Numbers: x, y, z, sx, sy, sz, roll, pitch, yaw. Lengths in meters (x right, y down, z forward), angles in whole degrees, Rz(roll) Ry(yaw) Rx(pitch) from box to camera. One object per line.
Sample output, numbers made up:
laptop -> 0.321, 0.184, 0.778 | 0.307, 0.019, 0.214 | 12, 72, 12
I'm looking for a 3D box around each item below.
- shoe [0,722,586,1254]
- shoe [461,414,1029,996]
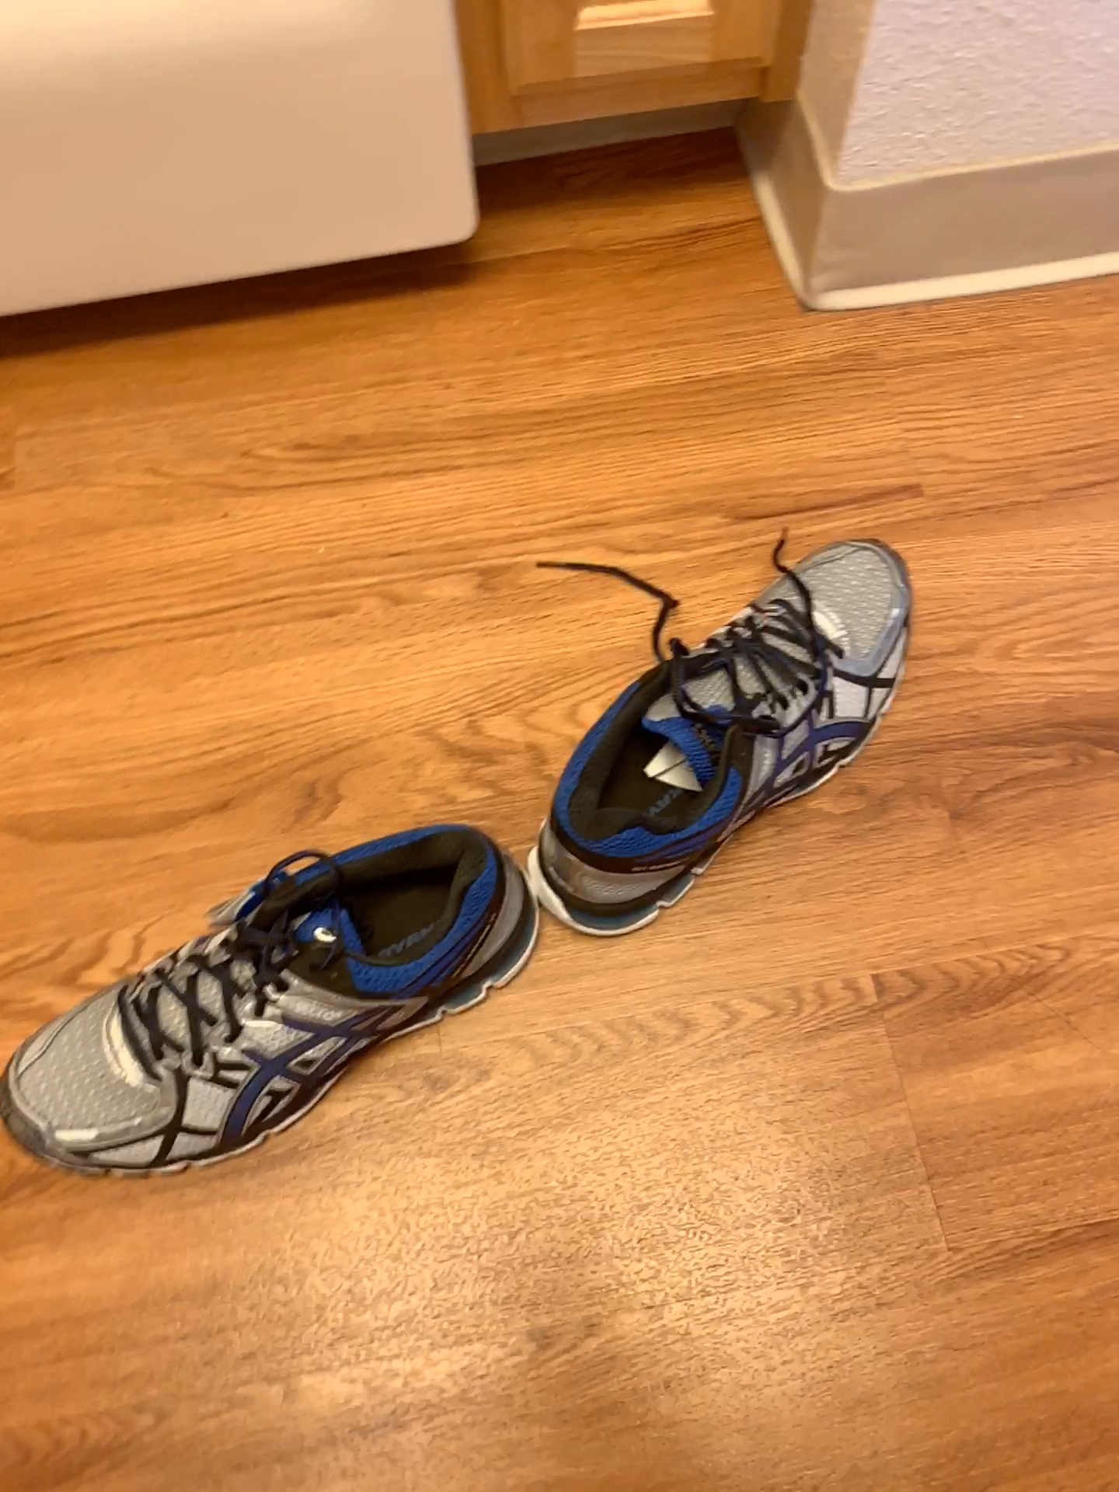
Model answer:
shoe -> -0.147, 0.128, 0.595 | 0.300, 0.120, 0.120 | -28, 68, -10
shoe -> 0.108, -0.027, 0.666 | 0.120, 0.110, 0.330 | 41, 73, 18
